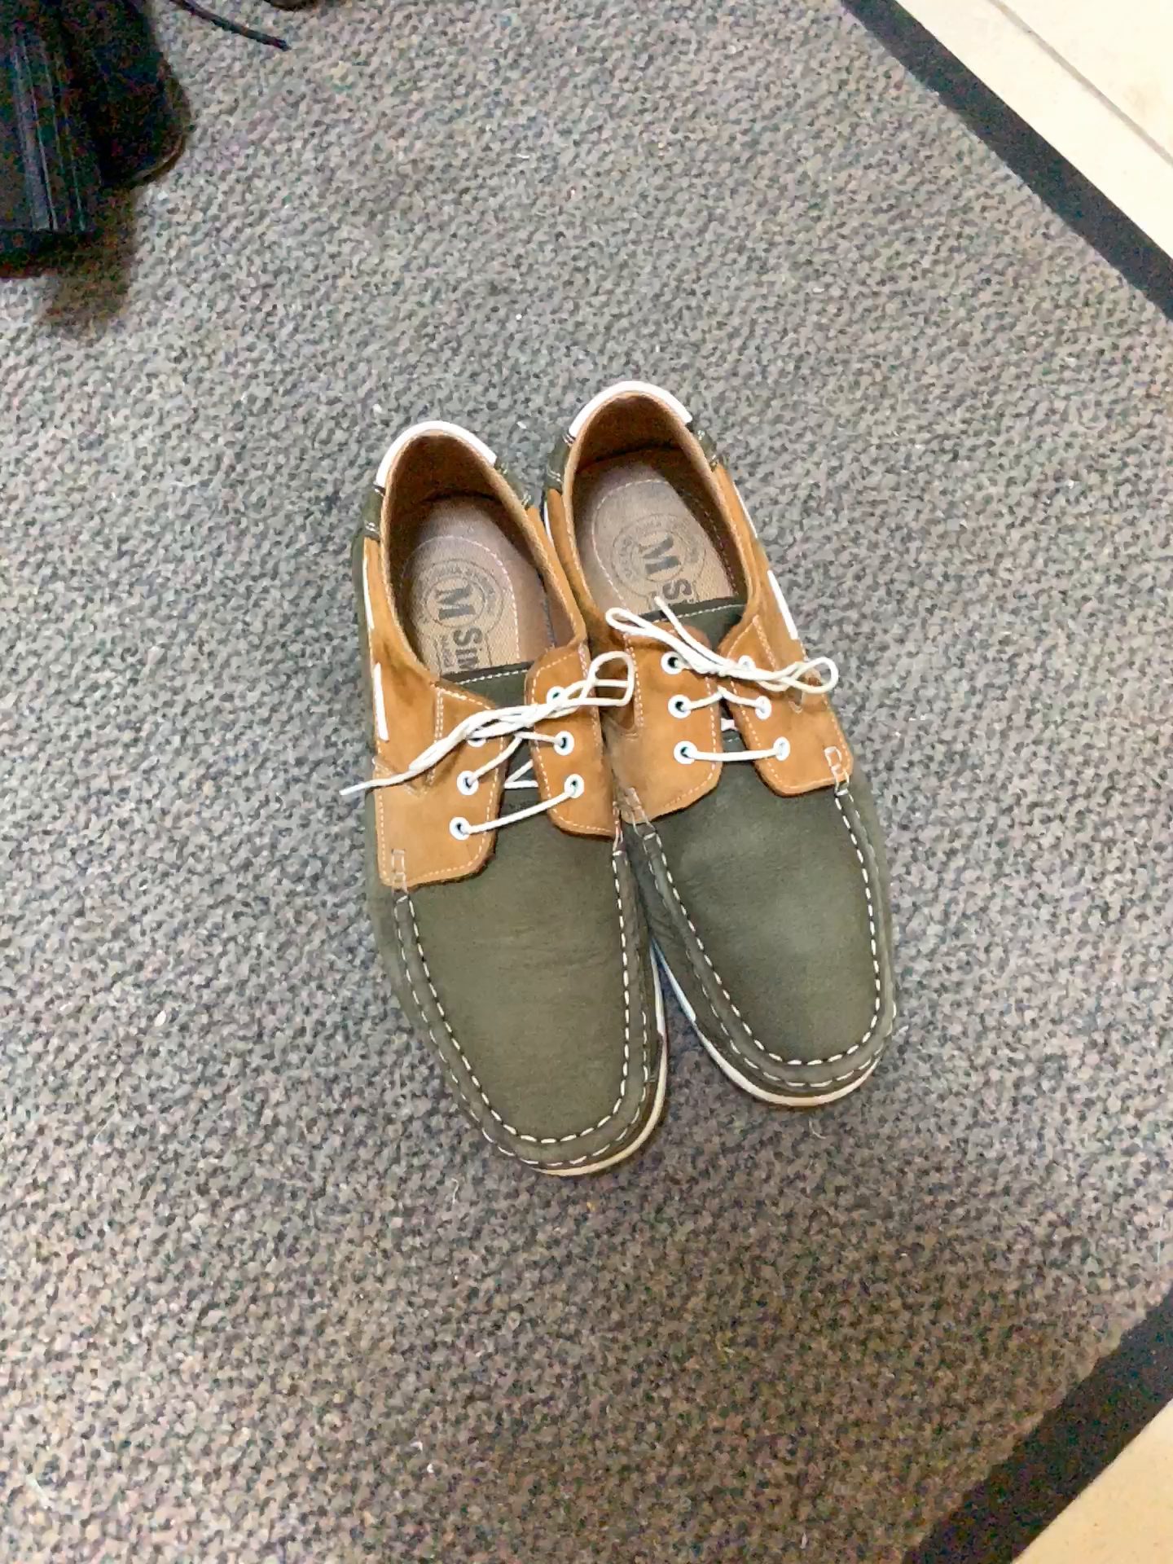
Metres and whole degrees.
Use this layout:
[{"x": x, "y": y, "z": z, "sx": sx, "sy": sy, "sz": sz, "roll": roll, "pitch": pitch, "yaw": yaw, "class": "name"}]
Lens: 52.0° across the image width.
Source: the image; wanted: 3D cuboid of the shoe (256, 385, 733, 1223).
[{"x": -0.039, "y": 0.011, "z": 0.458, "sx": 0.107, "sy": 0.130, "sz": 0.270, "roll": -11, "pitch": 74, "yaw": -5, "class": "shoe"}]

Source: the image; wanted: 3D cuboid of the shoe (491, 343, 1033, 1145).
[{"x": 0.051, "y": -0.008, "z": 0.472, "sx": 0.107, "sy": 0.130, "sz": 0.270, "roll": -14, "pitch": 74, "yaw": -6, "class": "shoe"}]
